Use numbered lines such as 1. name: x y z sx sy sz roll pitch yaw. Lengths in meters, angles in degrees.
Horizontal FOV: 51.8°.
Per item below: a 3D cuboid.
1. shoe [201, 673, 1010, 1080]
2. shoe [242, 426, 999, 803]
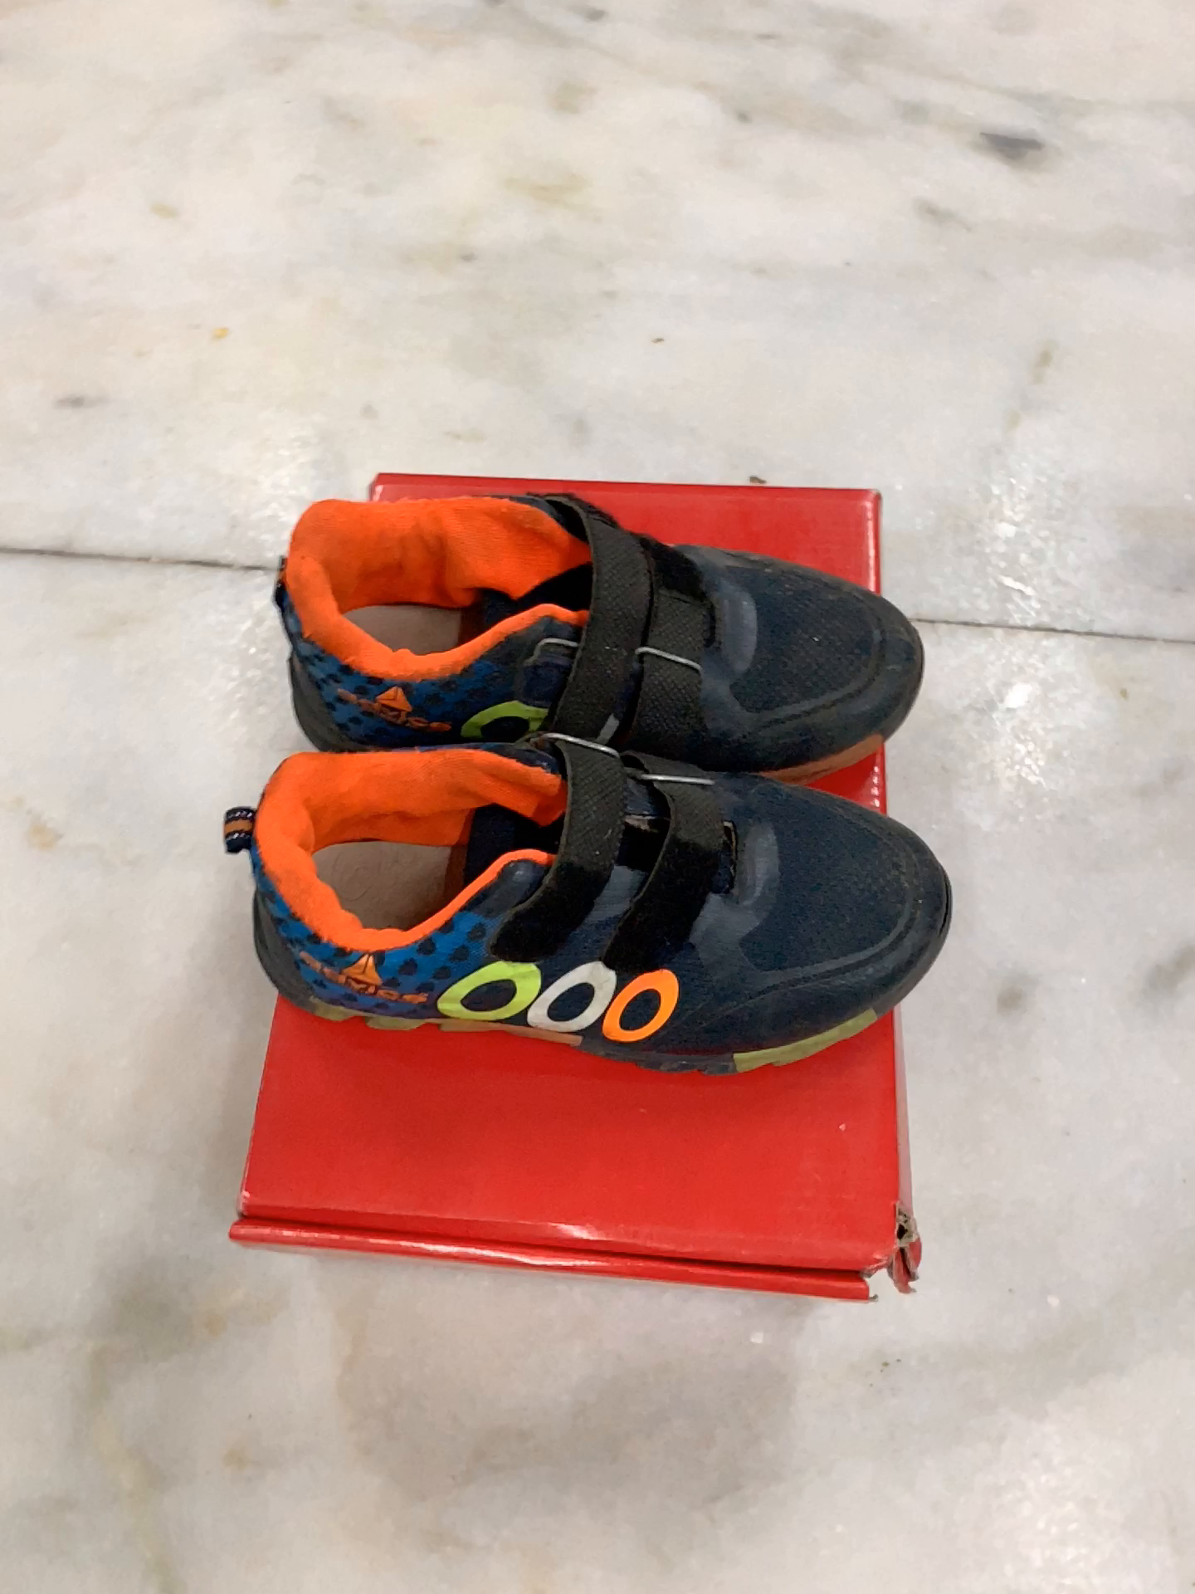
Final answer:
1. shoe: 0.004 0.027 0.379 0.210 0.090 0.090 2 65 2
2. shoe: 0.008 -0.056 0.394 0.210 0.080 0.080 3 65 2
